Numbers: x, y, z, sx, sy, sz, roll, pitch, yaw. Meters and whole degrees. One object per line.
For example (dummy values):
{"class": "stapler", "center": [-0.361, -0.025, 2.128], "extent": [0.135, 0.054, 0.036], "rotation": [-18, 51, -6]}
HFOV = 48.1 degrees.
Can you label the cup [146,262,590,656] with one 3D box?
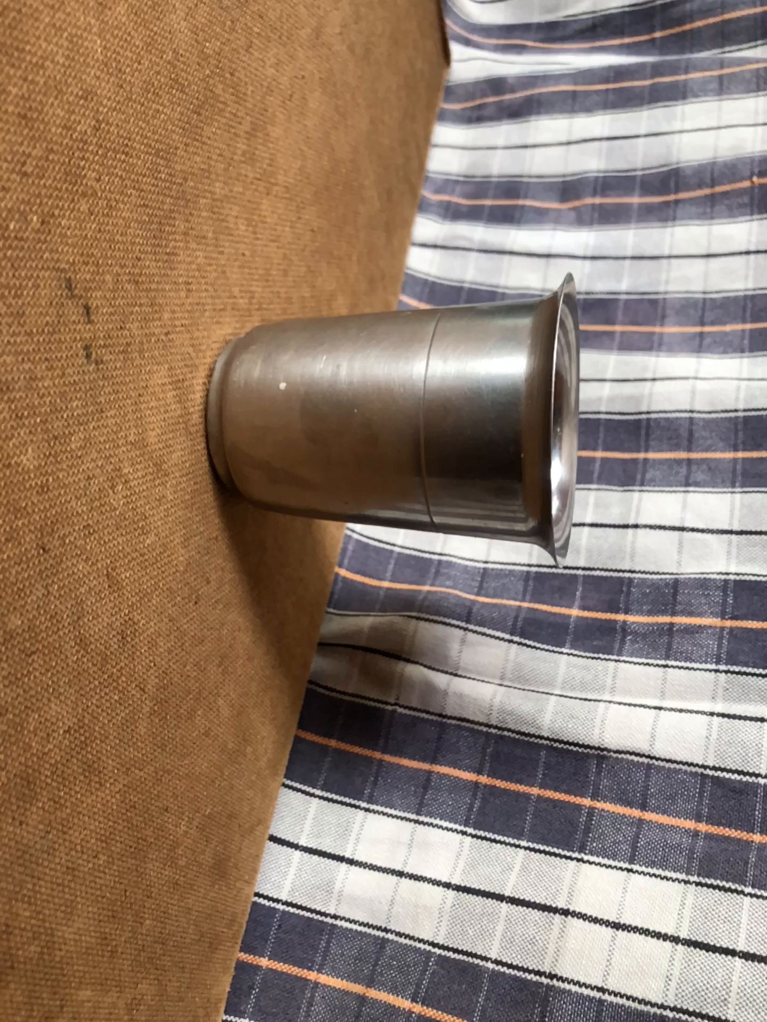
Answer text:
{"class": "cup", "center": [0.005, -0.019, 0.247], "extent": [0.080, 0.099, 0.080], "rotation": [2, 90, -75]}
